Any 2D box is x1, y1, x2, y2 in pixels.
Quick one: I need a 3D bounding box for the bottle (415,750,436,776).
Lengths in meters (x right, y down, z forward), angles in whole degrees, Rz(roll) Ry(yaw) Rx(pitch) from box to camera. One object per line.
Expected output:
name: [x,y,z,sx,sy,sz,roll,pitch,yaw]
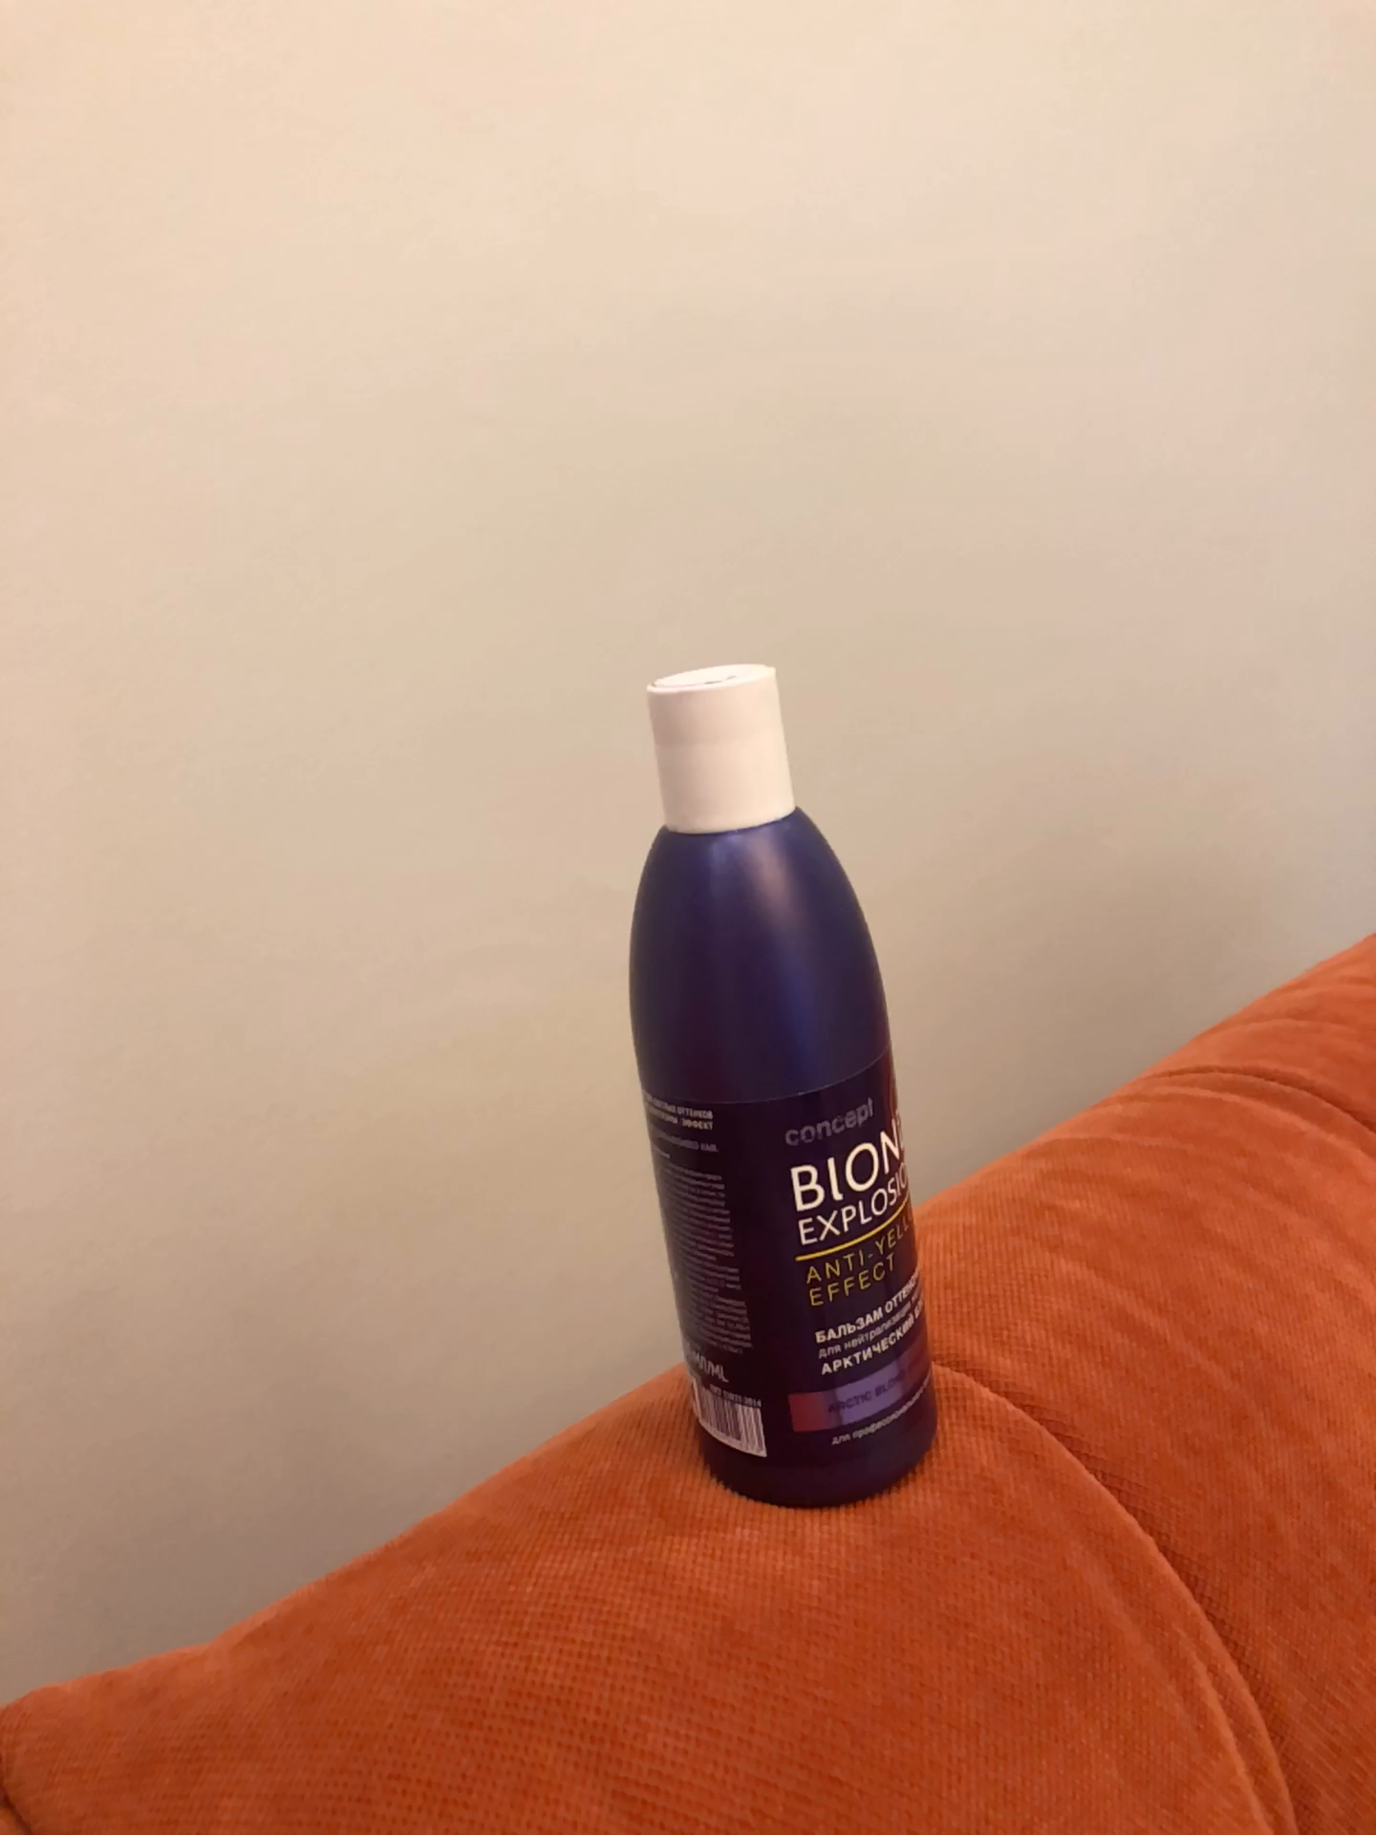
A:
bottle: [-1.018,-0.599,5.882,0.055,0.092,0.055,-2,16,1]
